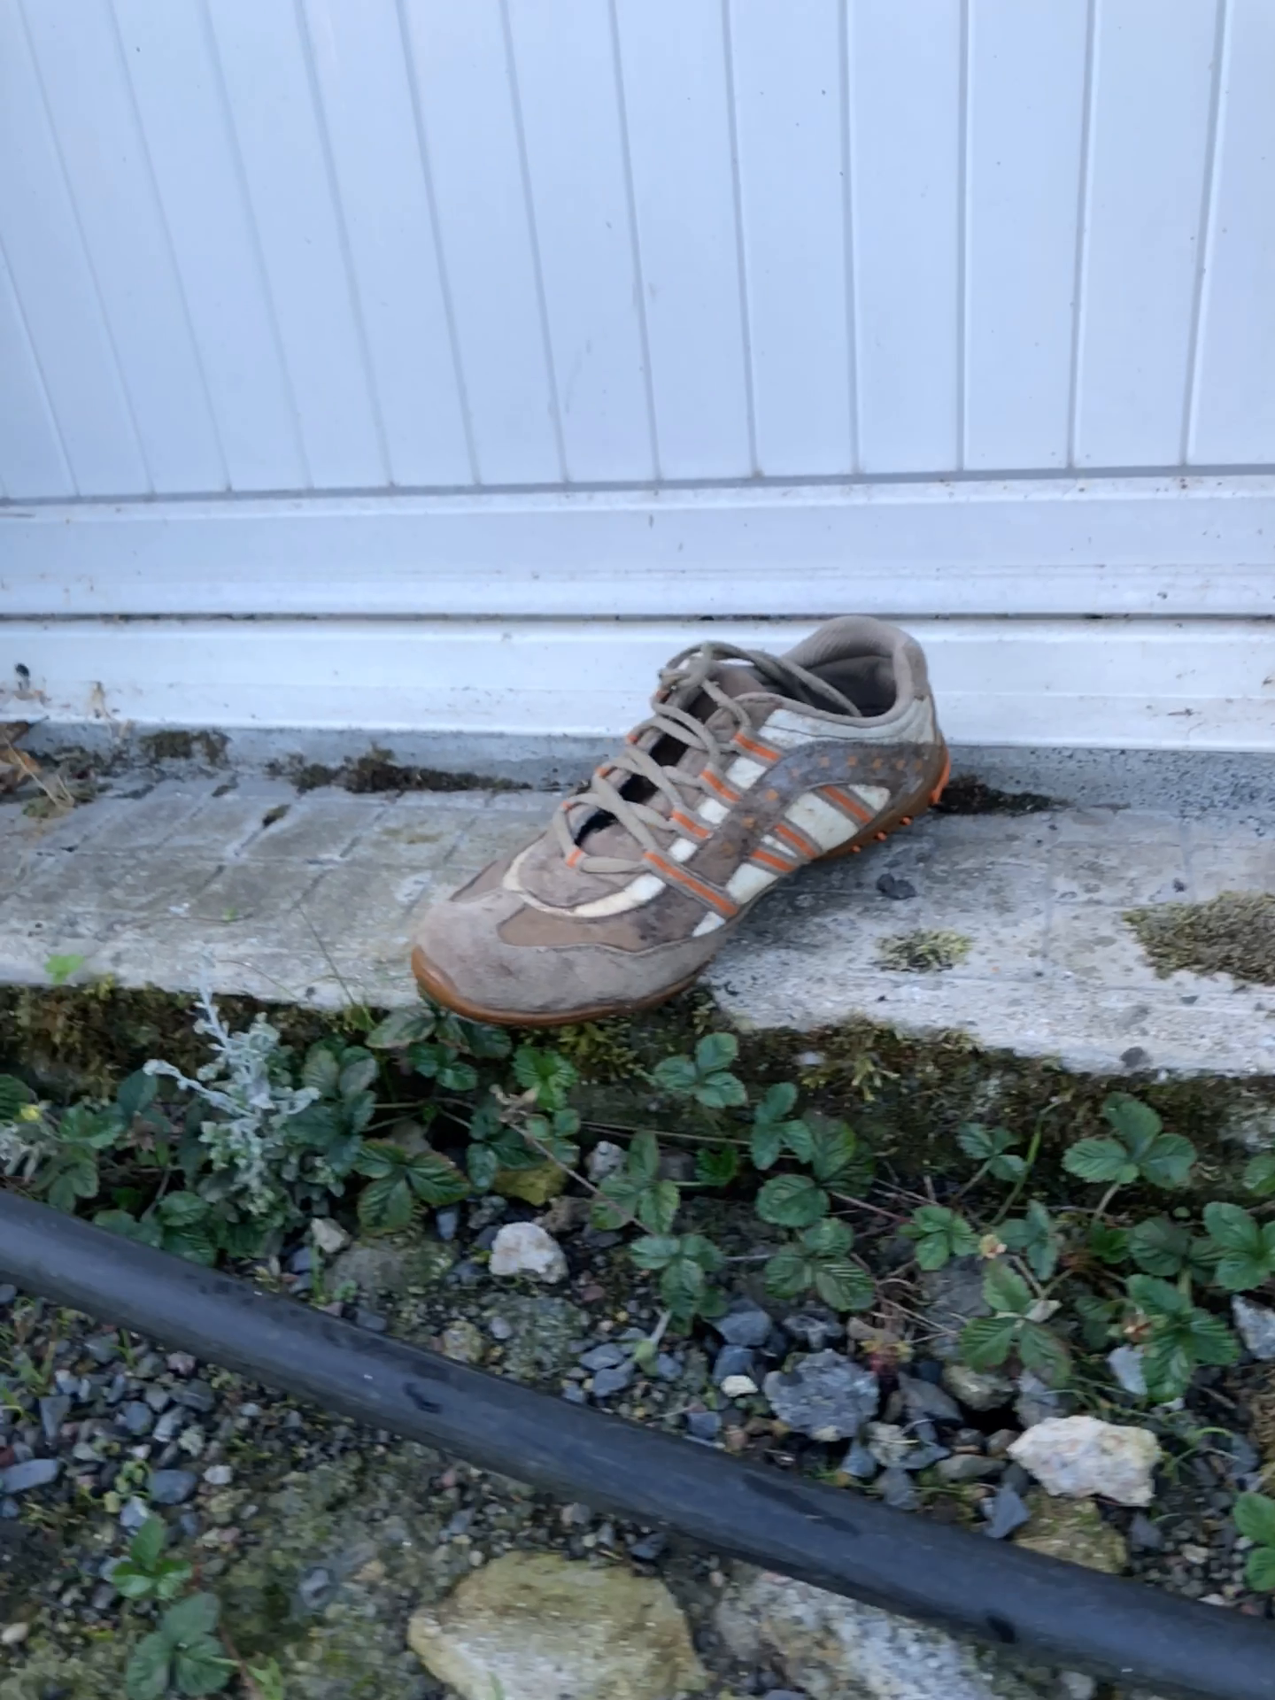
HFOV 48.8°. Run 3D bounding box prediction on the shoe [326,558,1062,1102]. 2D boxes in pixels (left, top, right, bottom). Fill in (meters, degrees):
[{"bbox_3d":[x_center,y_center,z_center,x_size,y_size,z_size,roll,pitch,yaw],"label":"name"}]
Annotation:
[{"bbox_3d":[0.032,-0.023,0.564,0.271,0.099,0.110,-23,33,-26],"label":"shoe"}]
